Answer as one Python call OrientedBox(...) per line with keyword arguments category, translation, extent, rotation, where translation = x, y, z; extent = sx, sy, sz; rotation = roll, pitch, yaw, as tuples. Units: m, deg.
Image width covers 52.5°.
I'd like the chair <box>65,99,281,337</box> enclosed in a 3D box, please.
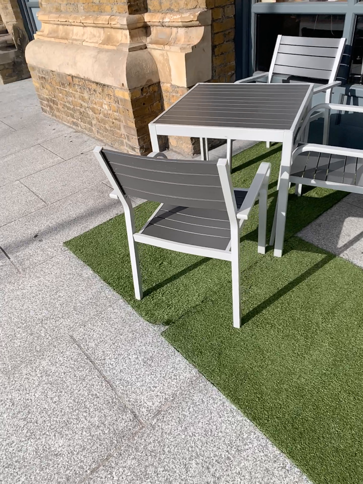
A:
OrientedBox(category="chair", translation=(0.042, -0.149, 1.714), extent=(0.682, 0.801, 0.651), rotation=(8, 39, 20))
